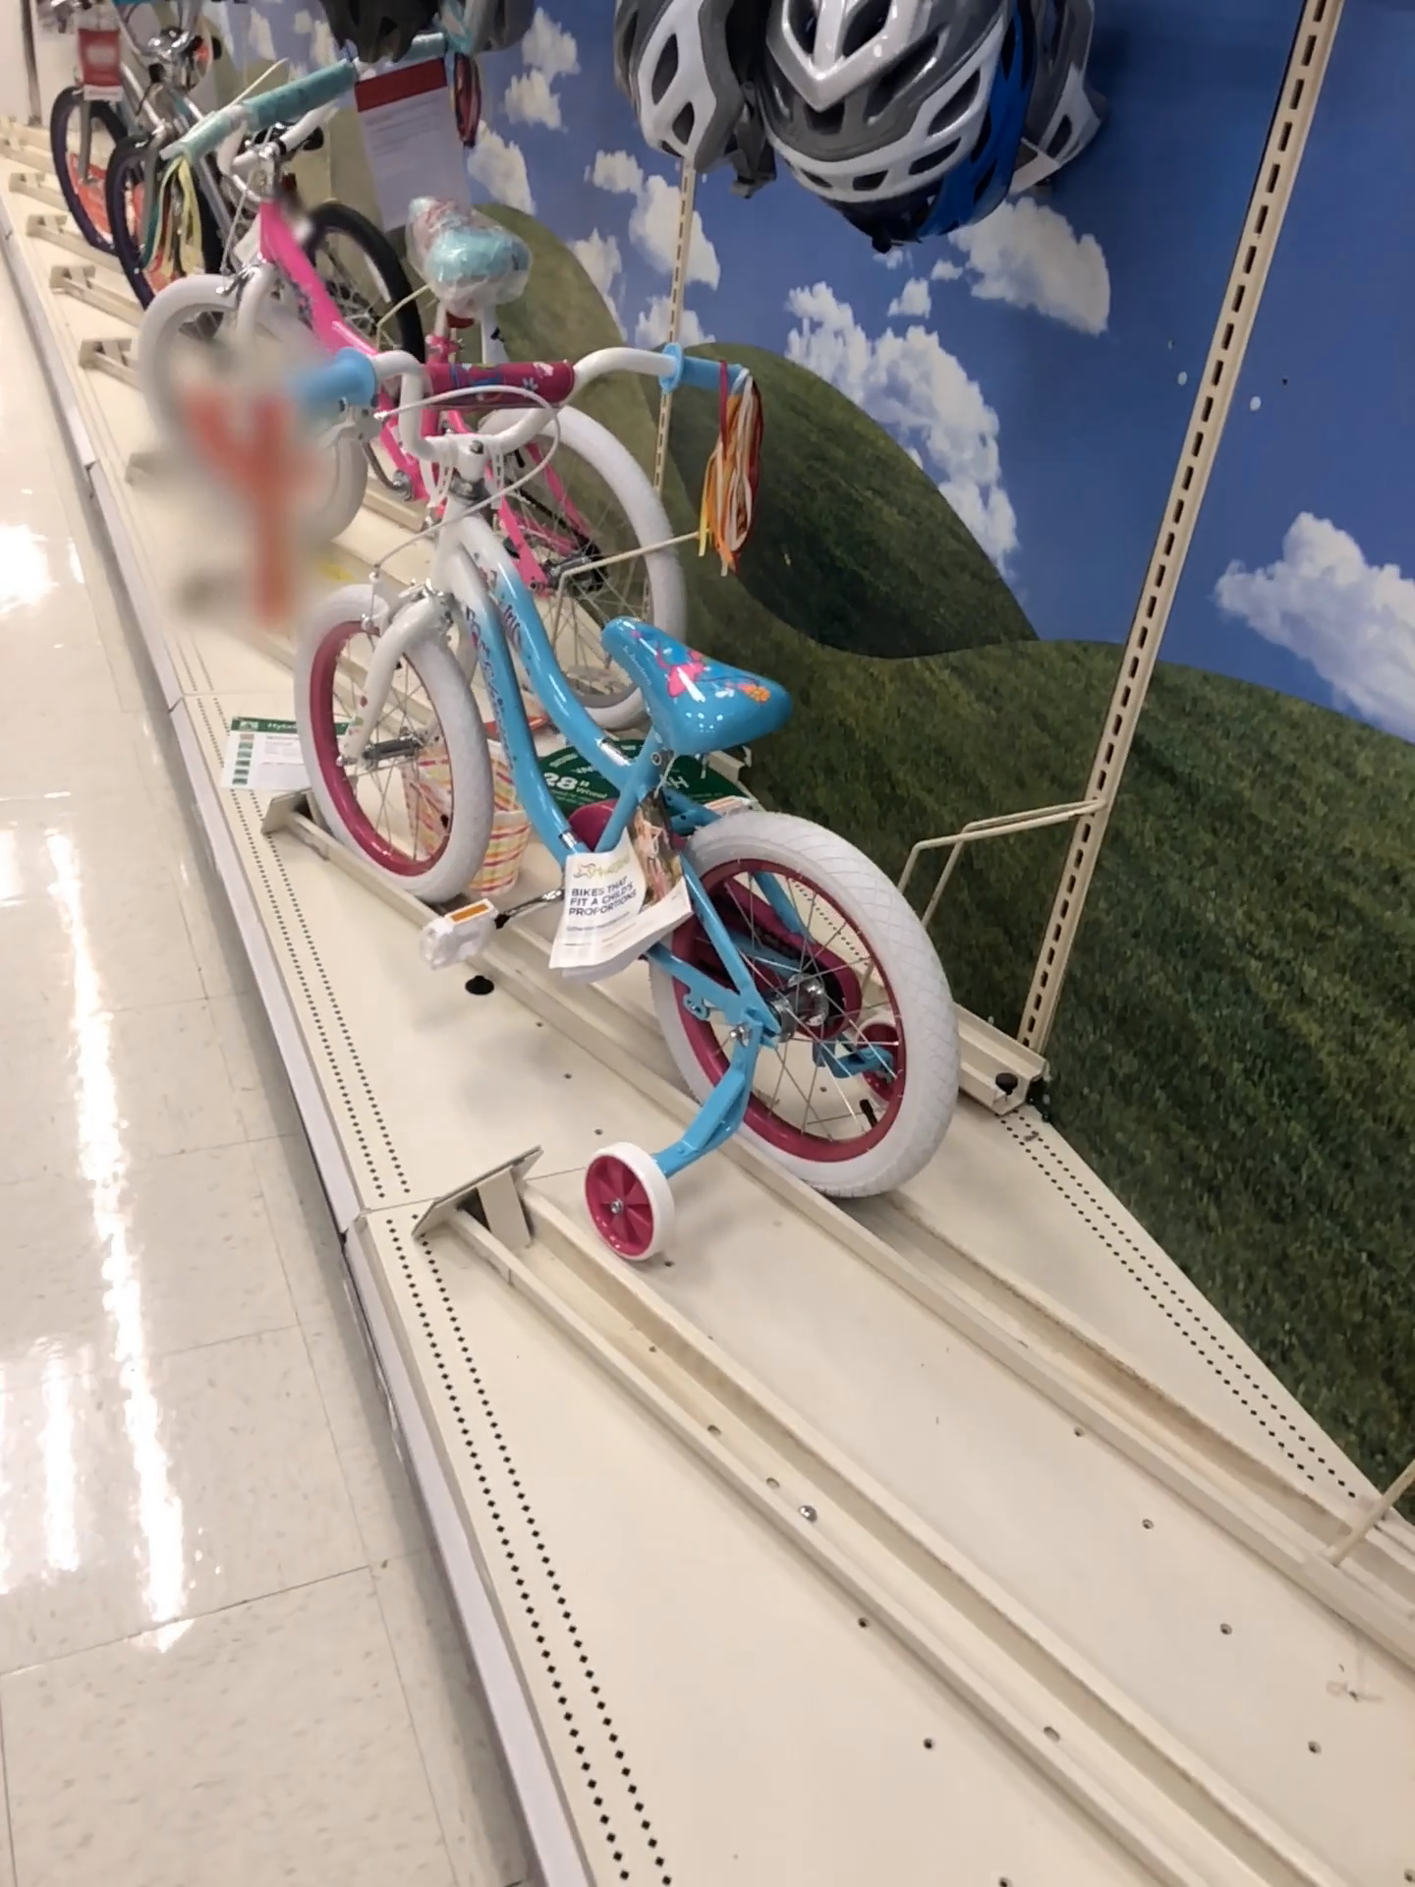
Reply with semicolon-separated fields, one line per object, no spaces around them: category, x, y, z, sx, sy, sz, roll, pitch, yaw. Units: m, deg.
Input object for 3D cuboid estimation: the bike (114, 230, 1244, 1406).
bike;-0.112;-0.247;1.677;0.534;0.723;1.093;-23;45;-40
